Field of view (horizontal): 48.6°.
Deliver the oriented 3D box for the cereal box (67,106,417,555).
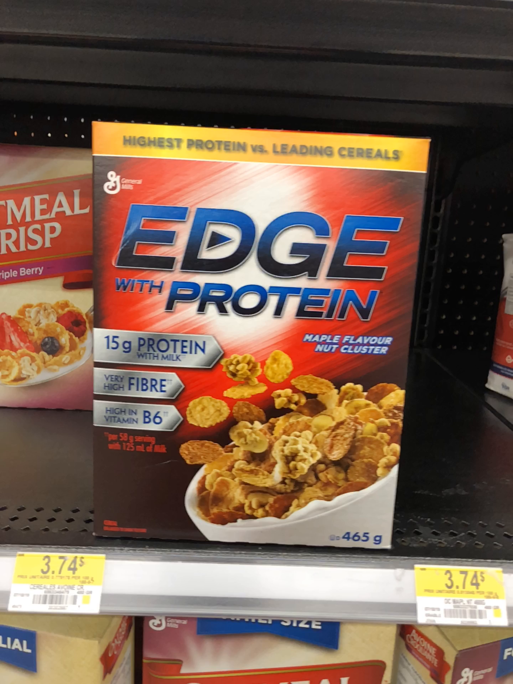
[{"bbox_3d":[-0.015,-0.003,0.378,0.200,0.269,0.060,3,11,0],"label":"cereal box"}]
